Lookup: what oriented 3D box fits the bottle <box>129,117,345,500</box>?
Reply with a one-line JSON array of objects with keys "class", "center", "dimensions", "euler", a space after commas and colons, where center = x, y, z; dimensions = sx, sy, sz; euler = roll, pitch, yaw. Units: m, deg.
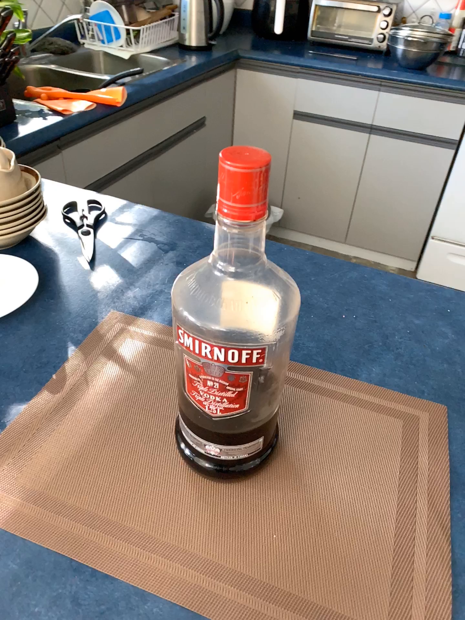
[{"class": "bottle", "center": [0.001, 0.016, 0.425], "dimensions": [0.120, 0.317, 0.111], "euler": [2, 38, -2]}]
